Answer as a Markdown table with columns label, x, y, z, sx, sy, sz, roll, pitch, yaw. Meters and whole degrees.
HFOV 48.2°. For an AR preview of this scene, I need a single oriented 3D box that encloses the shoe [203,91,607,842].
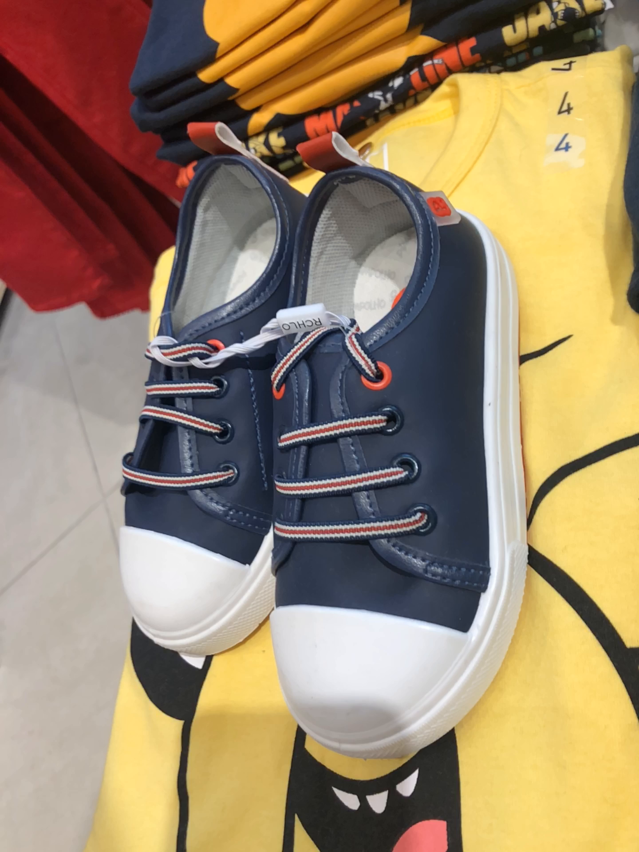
| label | x | y | z | sx | sy | sz | roll | pitch | yaw |
| --- | --- | --- | --- | --- | --- | --- | --- | --- | --- |
| shoe | 0.032 | 0.009 | 0.208 | 0.080 | 0.070 | 0.170 | -4 | 72 | 35 |

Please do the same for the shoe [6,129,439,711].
| label | x | y | z | sx | sy | sz | roll | pitch | yaw |
| --- | --- | --- | --- | --- | --- | --- | --- | --- | --- |
| shoe | -0.029 | -0.001 | 0.240 | 0.080 | 0.070 | 0.160 | 7 | 79 | 39 |
